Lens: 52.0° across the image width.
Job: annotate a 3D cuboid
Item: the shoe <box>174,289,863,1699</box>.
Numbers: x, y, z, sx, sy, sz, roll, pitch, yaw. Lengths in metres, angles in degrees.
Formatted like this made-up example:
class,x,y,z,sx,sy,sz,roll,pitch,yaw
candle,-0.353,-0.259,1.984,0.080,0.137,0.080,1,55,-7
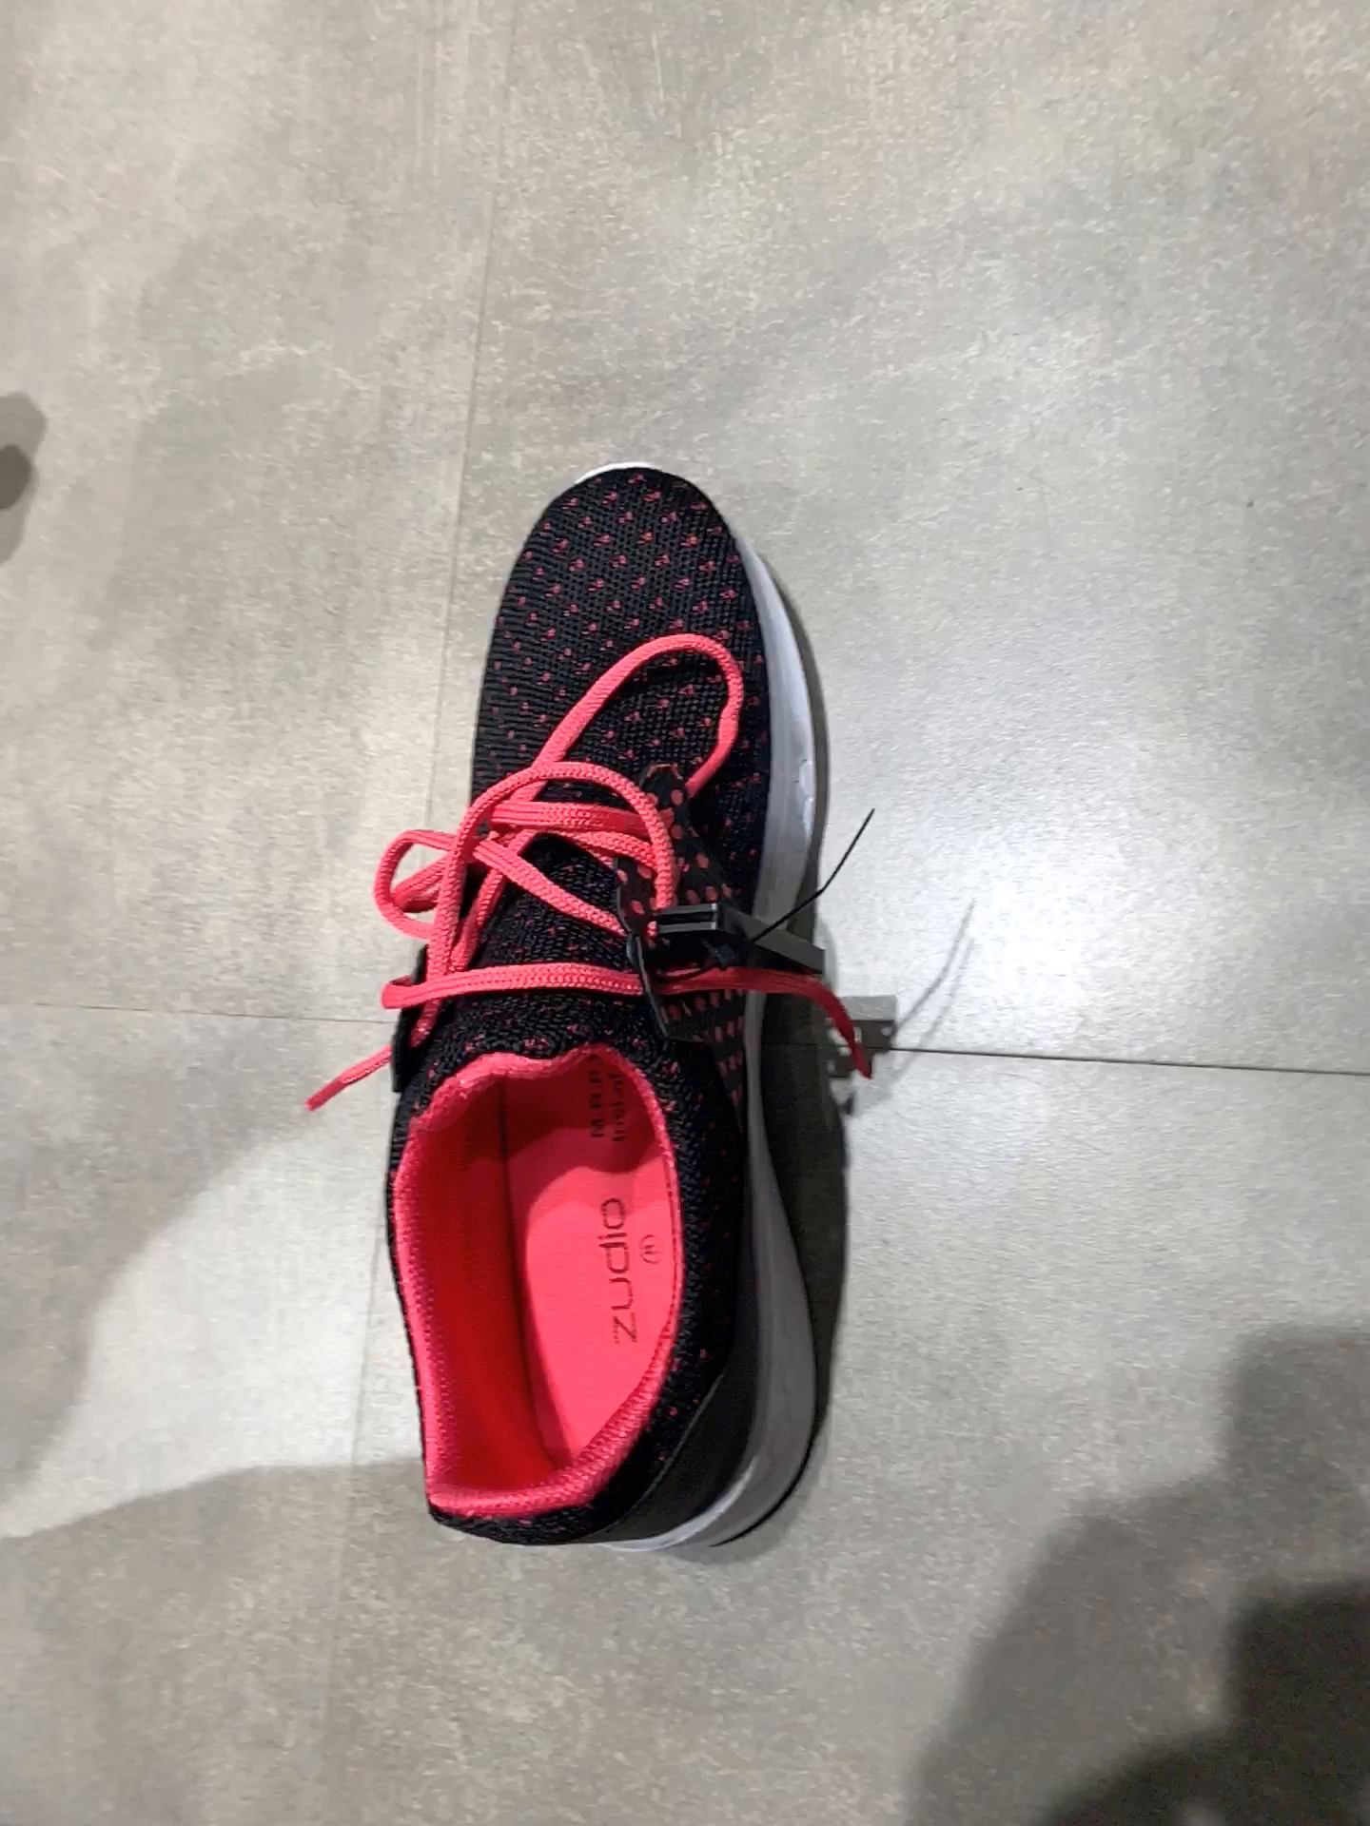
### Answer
class,x,y,z,sx,sy,sz,roll,pitch,yaw
shoe,-0.030,0.017,0.329,0.110,0.109,0.263,-5,78,20
